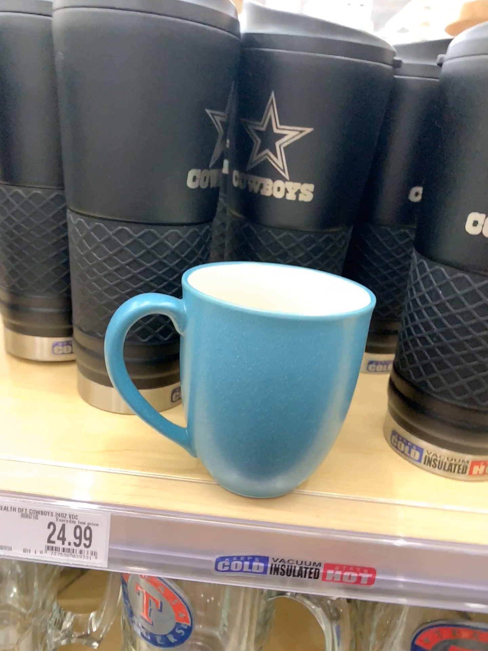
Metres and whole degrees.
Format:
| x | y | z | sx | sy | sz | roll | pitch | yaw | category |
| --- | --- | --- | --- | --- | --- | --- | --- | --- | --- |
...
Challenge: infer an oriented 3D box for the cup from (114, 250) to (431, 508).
| x | y | z | sx | sy | sz | roll | pitch | yaw | category |
| --- | --- | --- | --- | --- | --- | --- | --- | --- | --- |
| 0.005 | 0.020 | 0.241 | 0.116 | 0.084 | 0.090 | 4 | 21 | -7 | cup |
